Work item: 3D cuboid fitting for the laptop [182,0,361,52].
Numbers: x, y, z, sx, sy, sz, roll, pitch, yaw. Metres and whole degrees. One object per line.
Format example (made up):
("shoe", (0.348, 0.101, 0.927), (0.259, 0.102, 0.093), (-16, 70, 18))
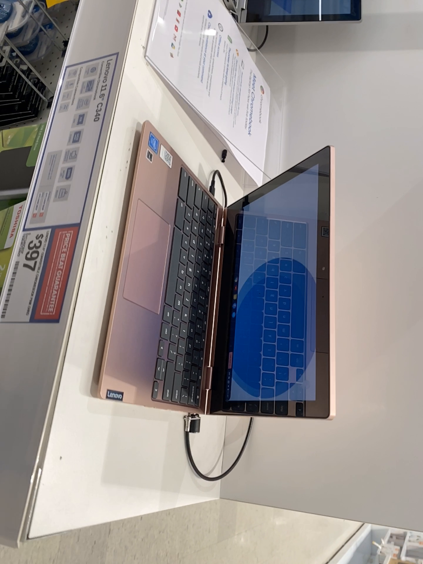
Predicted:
("laptop", (0.120, -0.611, 0.689), (0.266, 0.192, 0.310), (39, 53, -58))

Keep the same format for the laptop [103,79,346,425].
("laptop", (0.039, -0.008, 0.458), (0.197, 0.168, 0.280), (37, 54, -58))
